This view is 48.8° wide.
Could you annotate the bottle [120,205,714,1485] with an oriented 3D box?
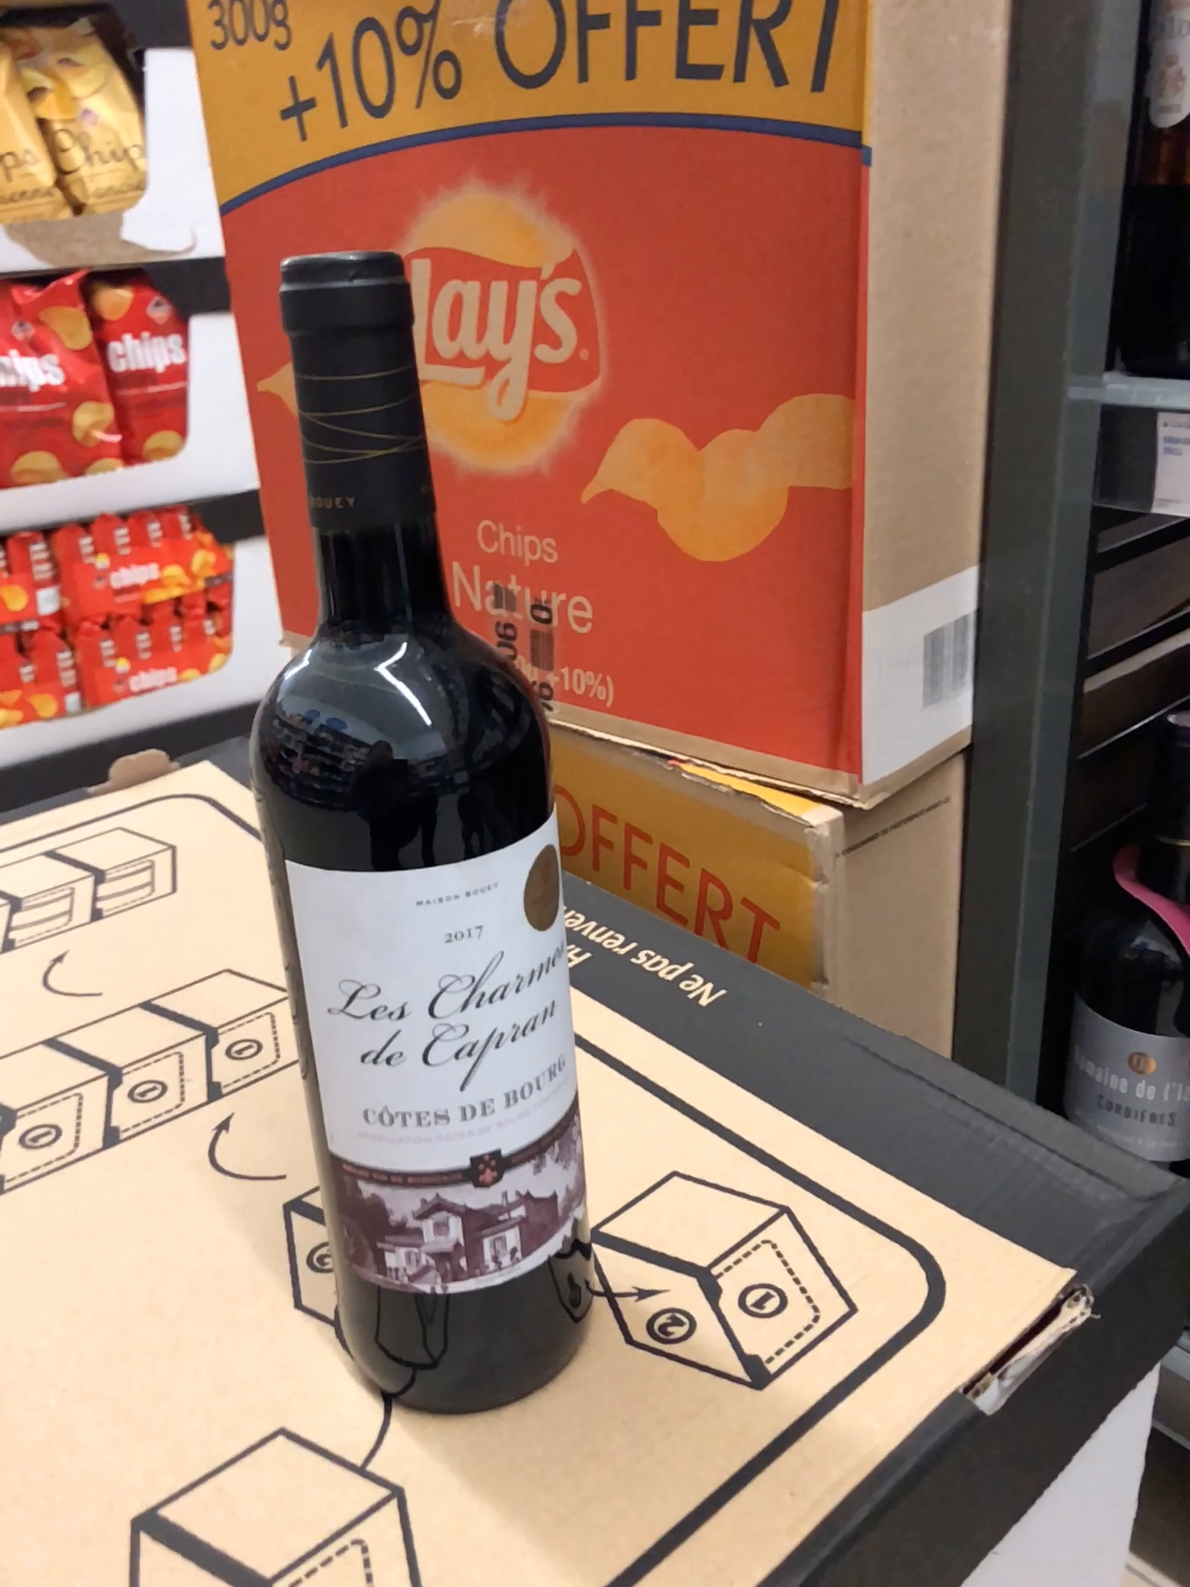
[{"bbox_3d":[-0.035,0.015,0.327,0.090,0.289,0.090,-3,23,1],"label":"bottle"}]
